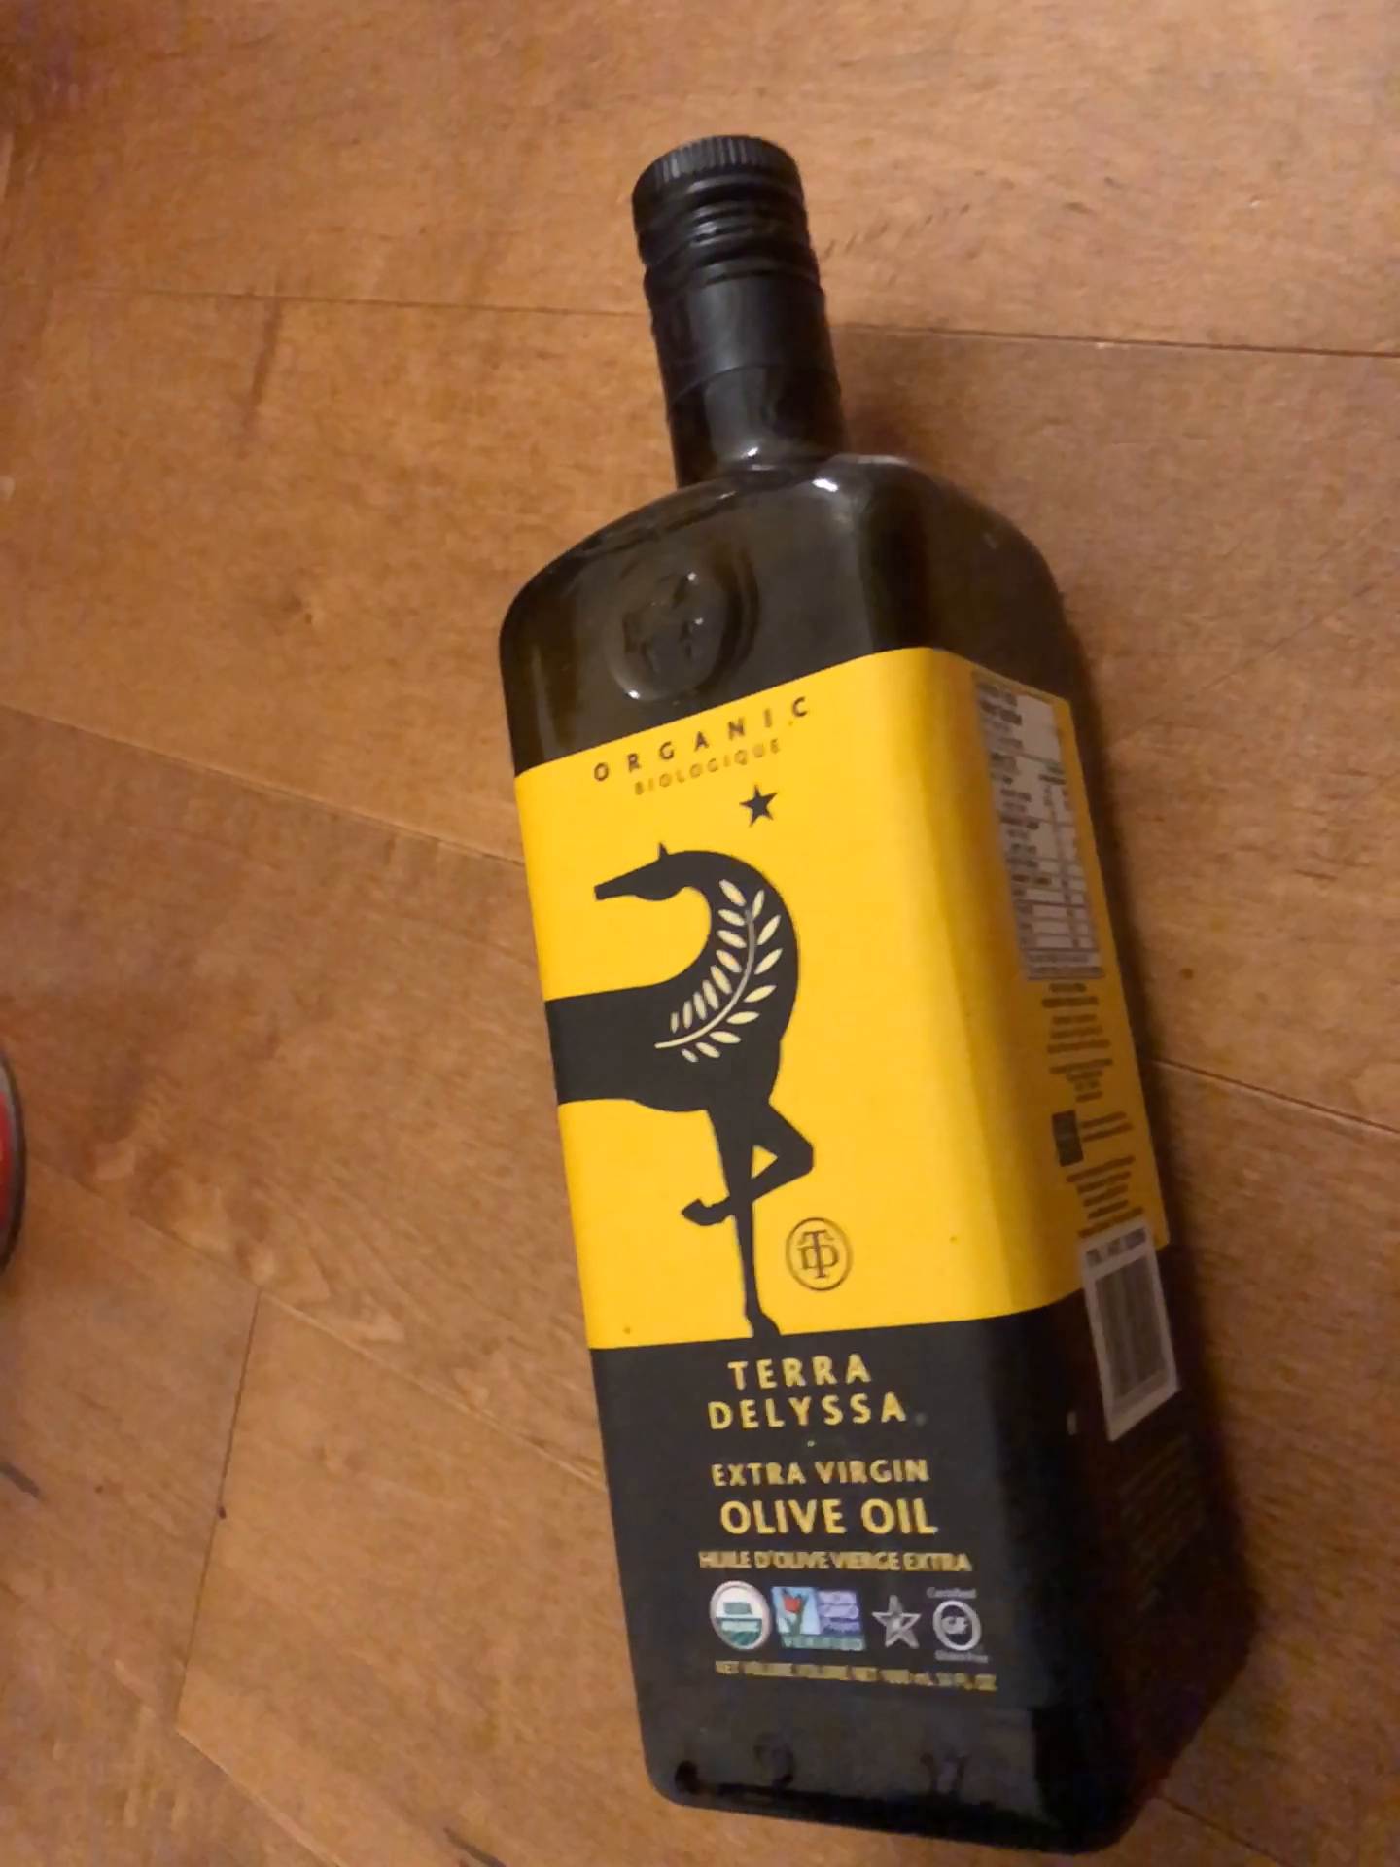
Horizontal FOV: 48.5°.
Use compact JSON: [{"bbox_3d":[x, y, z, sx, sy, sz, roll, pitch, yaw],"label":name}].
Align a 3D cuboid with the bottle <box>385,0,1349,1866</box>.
[{"bbox_3d":[0.021,-0.006,0.246,0.090,0.060,0.270,-14,81,33],"label":"bottle"}]
